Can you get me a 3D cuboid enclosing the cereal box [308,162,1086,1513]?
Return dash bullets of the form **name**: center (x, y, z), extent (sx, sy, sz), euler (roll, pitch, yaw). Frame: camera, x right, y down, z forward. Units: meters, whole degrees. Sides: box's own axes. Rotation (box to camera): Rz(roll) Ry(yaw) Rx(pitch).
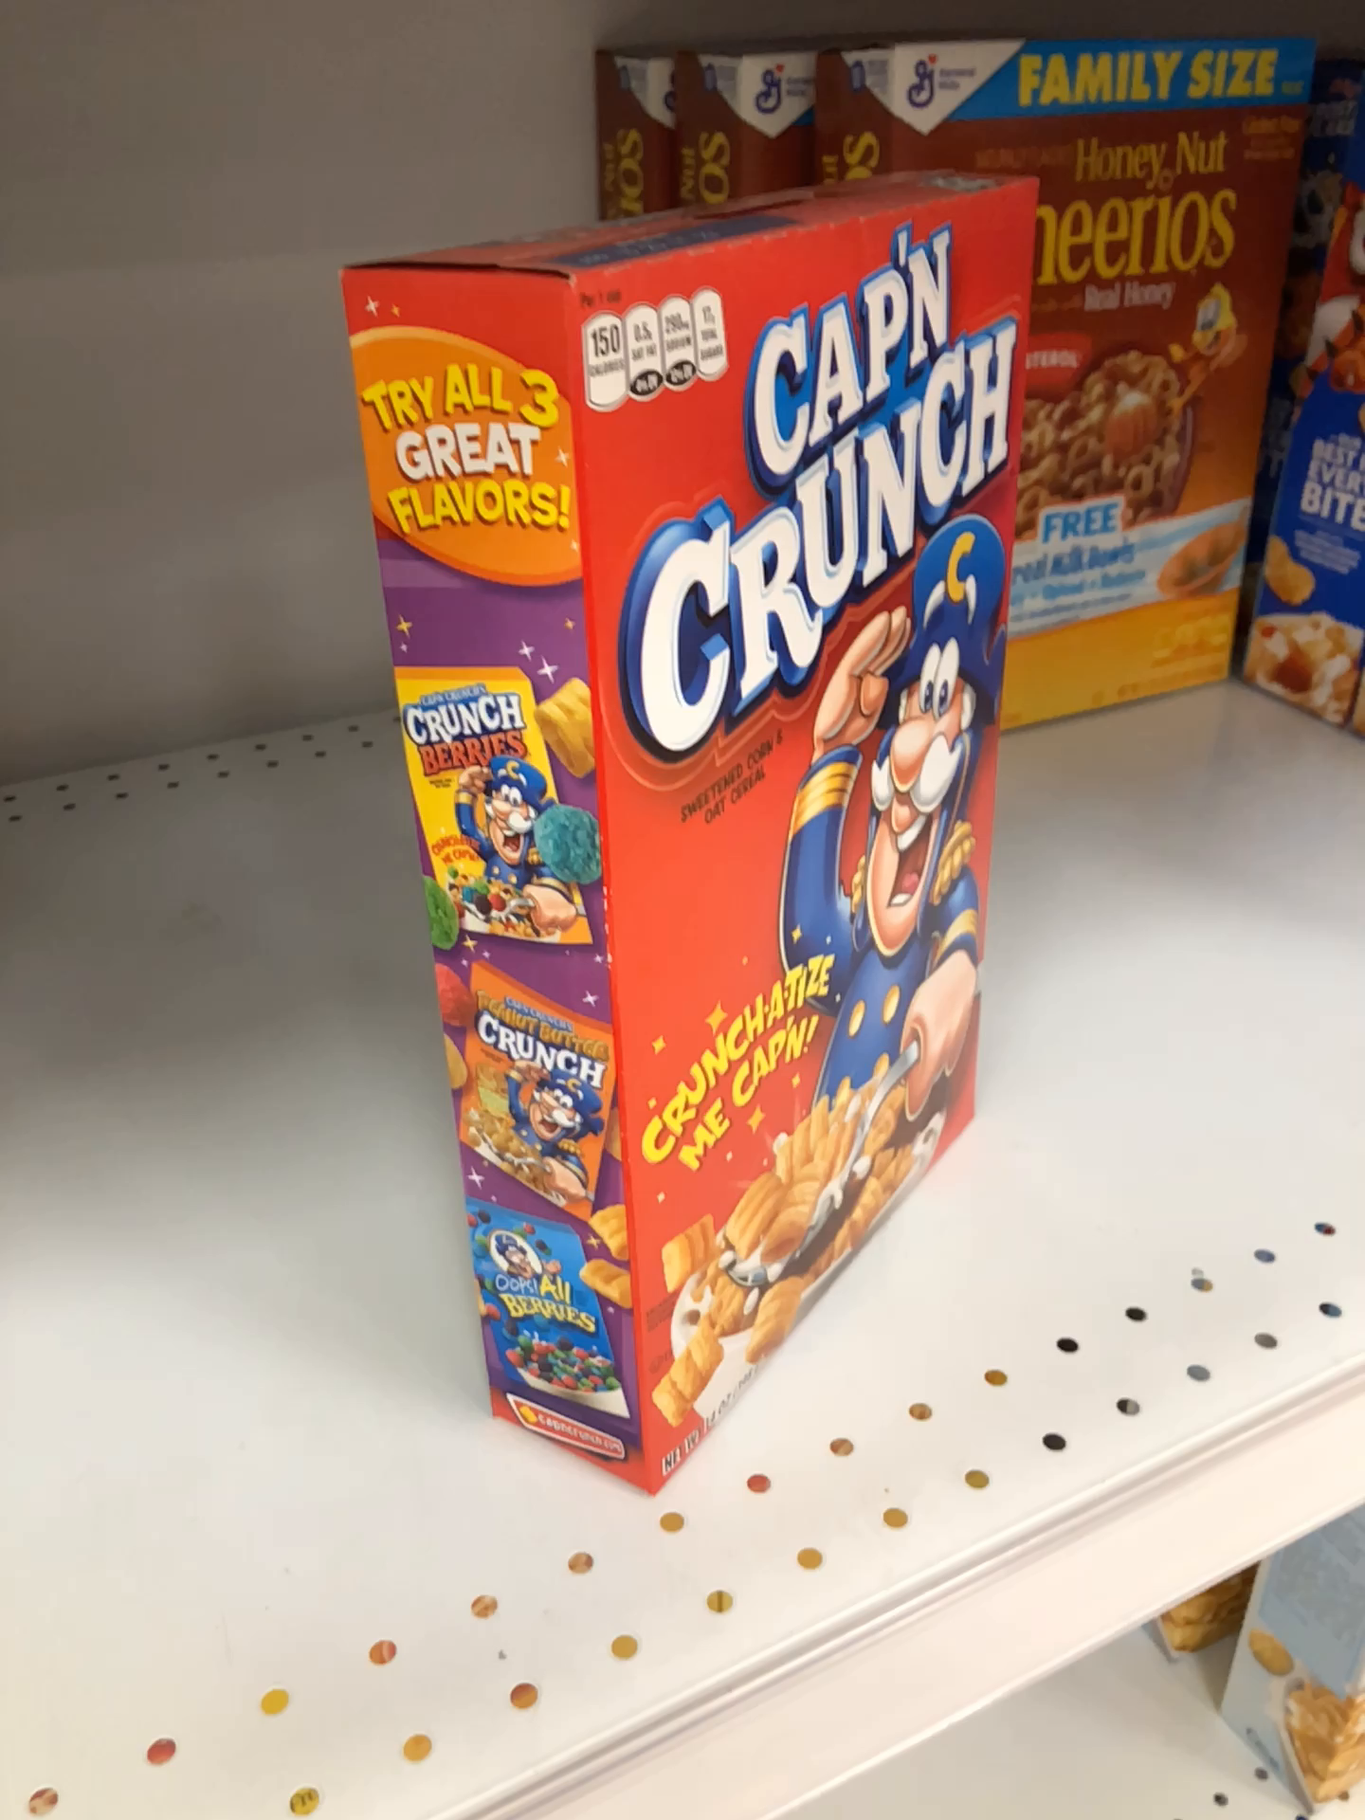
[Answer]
- **cereal box**: center (0.021, -0.027, 0.420), extent (0.070, 0.309, 0.210), euler (18, 35, 30)
